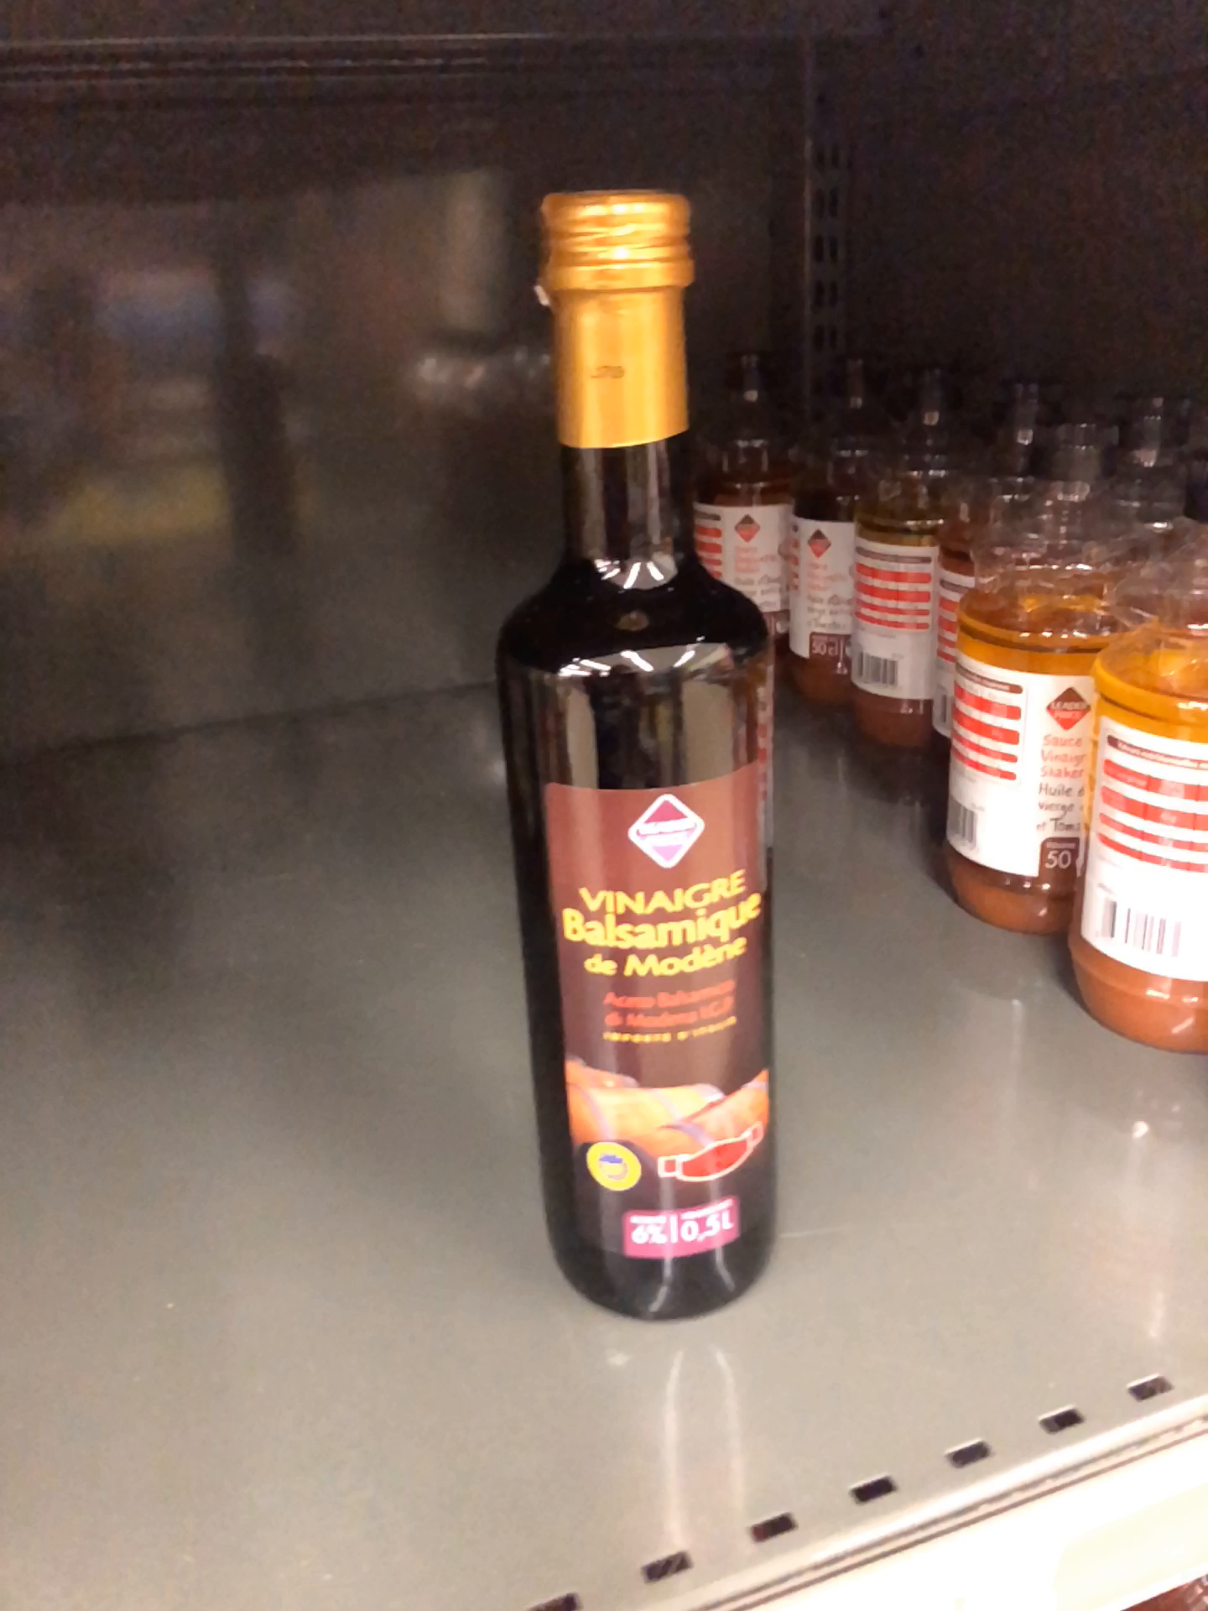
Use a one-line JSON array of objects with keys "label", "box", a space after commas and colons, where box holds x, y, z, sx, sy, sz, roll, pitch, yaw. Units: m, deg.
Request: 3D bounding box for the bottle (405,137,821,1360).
[{"label": "bottle", "box": [0.004, -0.005, 0.316, 0.070, 0.269, 0.070, -3, 22, 1]}]
